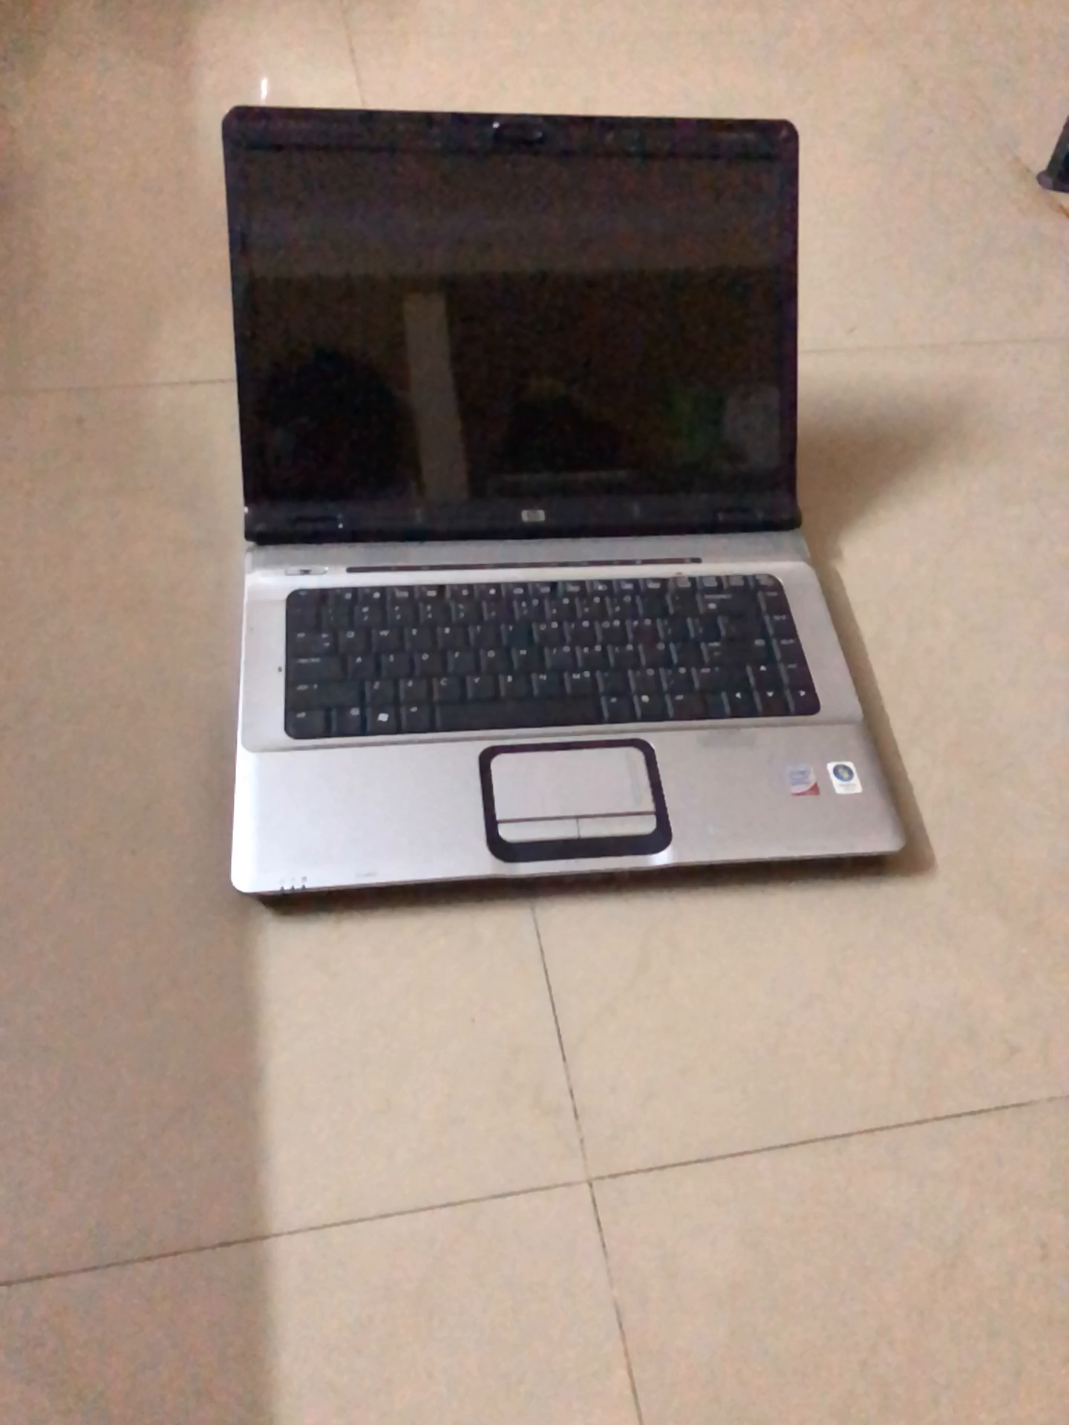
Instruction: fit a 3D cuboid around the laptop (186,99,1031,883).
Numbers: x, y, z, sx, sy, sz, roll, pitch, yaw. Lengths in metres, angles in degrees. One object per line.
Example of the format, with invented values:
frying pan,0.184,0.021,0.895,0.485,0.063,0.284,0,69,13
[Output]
laptop,0.009,-0.142,0.644,0.338,0.166,0.411,-2,54,-8
